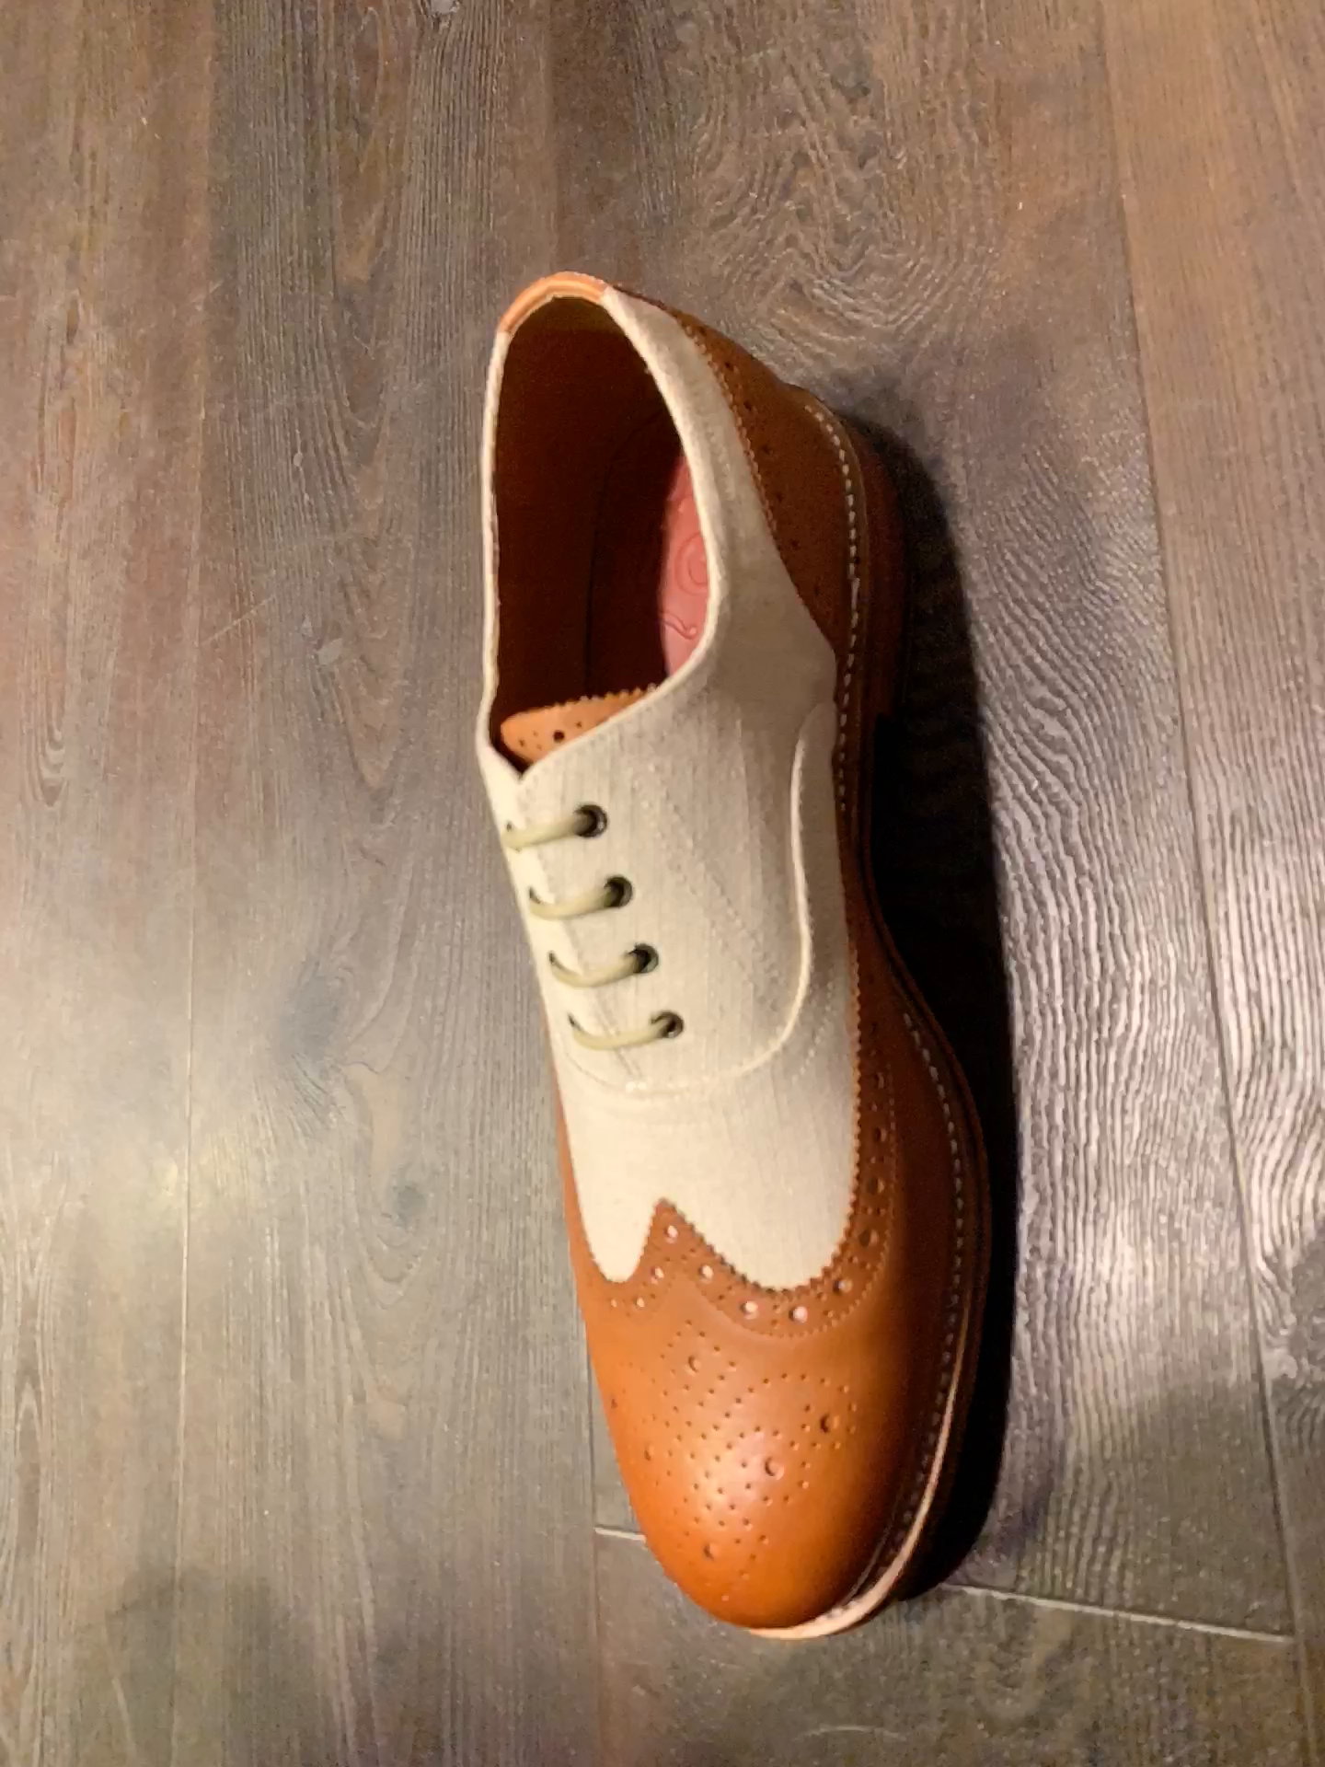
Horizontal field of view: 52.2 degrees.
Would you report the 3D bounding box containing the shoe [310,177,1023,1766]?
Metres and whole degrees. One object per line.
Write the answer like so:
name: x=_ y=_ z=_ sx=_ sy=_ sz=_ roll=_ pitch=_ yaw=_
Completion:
shoe: x=0.005 y=0.019 z=0.326 sx=0.111 sy=0.119 sz=0.300 roll=-7 pitch=78 yaw=34
